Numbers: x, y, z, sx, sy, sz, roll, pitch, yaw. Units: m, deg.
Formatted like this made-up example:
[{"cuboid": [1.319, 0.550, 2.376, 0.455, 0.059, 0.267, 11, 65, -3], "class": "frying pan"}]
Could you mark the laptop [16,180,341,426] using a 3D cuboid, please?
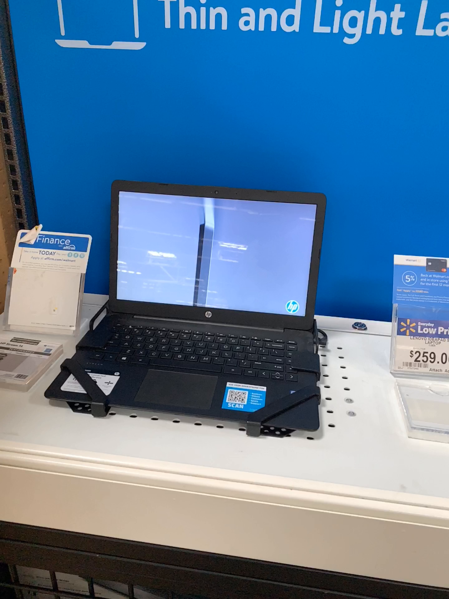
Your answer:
[{"cuboid": [-0.037, -0.021, 0.616, 0.326, 0.203, 0.270, 5, 26, 6], "class": "laptop"}]
